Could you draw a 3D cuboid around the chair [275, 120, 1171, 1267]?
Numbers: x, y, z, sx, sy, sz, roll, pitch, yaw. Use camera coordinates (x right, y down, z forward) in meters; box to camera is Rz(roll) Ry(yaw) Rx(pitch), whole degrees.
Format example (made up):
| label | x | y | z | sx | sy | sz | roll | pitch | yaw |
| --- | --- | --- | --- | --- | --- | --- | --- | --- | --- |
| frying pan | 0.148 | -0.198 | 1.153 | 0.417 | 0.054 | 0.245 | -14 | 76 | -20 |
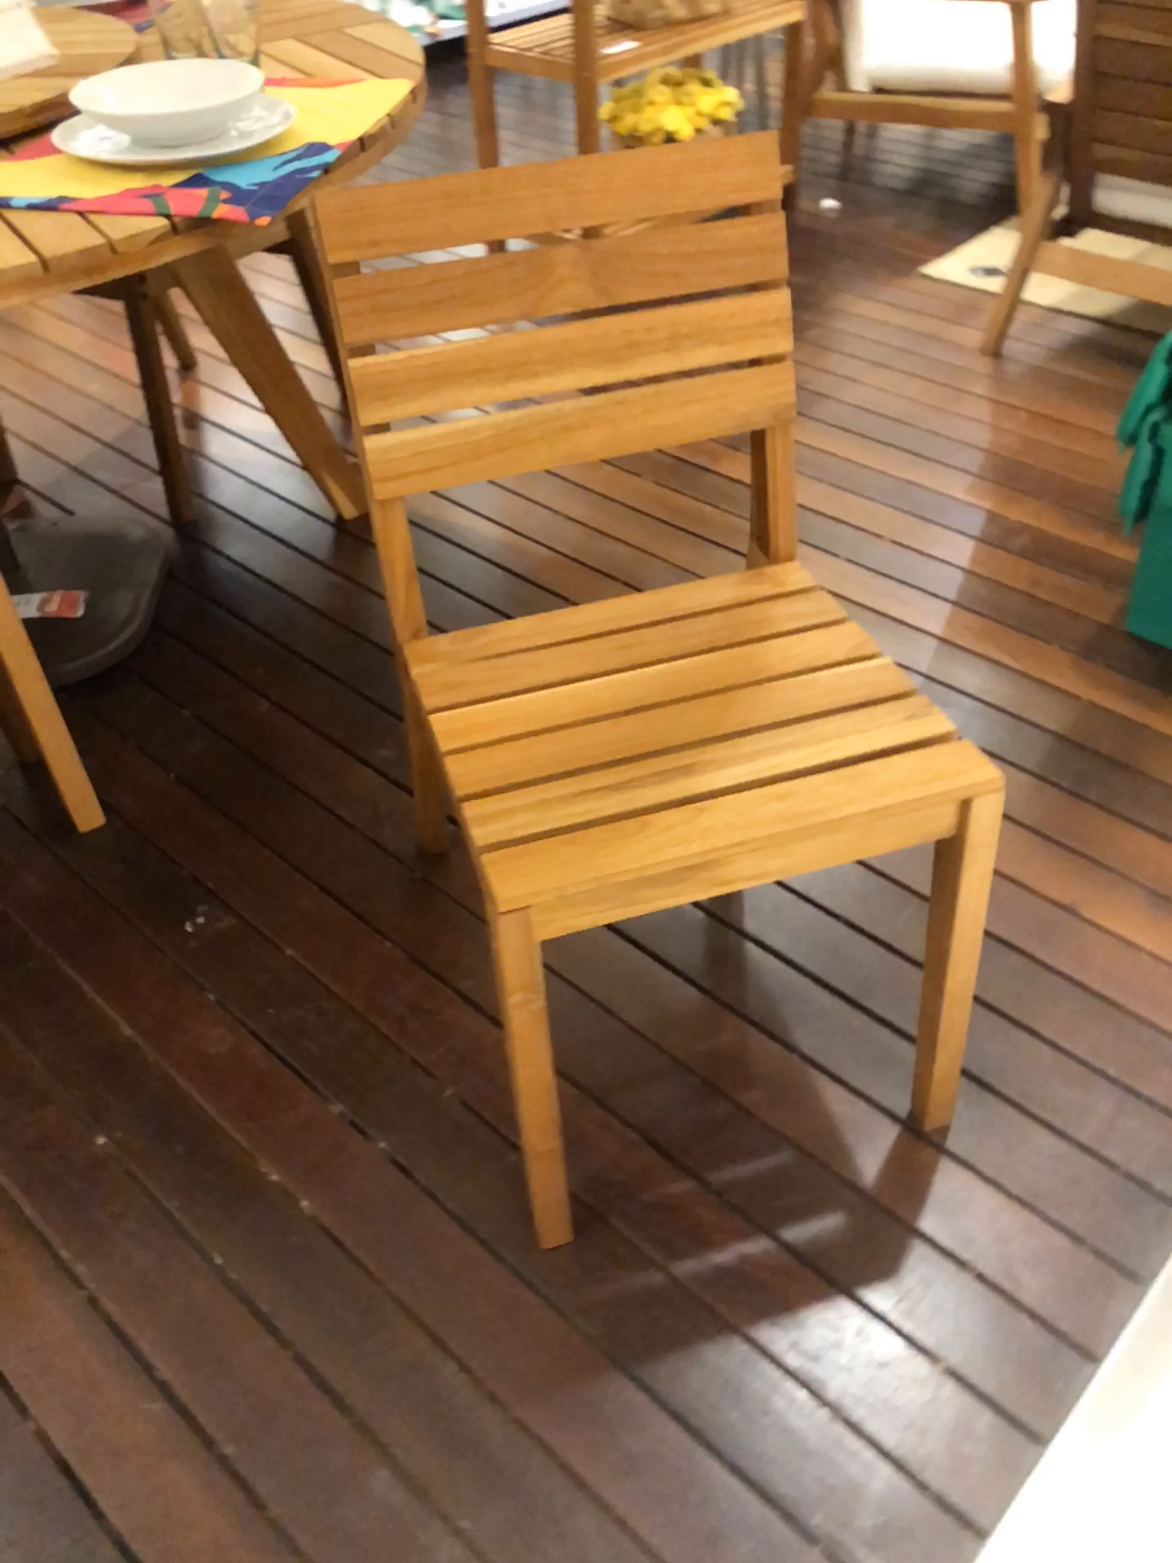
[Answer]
| label | x | y | z | sx | sy | sz | roll | pitch | yaw |
| --- | --- | --- | --- | --- | --- | --- | --- | --- | --- |
| chair | 0.060 | -0.088 | 1.186 | 0.460 | 0.764 | 0.604 | -14 | 42 | -11 |
